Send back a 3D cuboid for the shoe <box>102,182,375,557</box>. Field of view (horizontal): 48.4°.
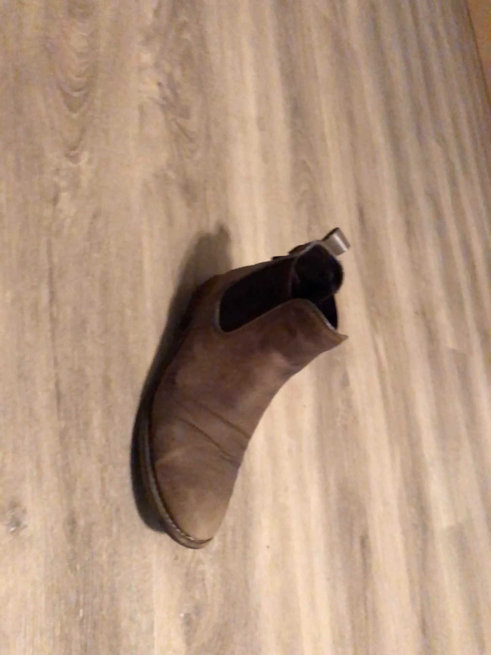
[{"bbox_3d":[0.008,0.034,0.414,0.100,0.139,0.240,38,49,-38],"label":"shoe"}]
